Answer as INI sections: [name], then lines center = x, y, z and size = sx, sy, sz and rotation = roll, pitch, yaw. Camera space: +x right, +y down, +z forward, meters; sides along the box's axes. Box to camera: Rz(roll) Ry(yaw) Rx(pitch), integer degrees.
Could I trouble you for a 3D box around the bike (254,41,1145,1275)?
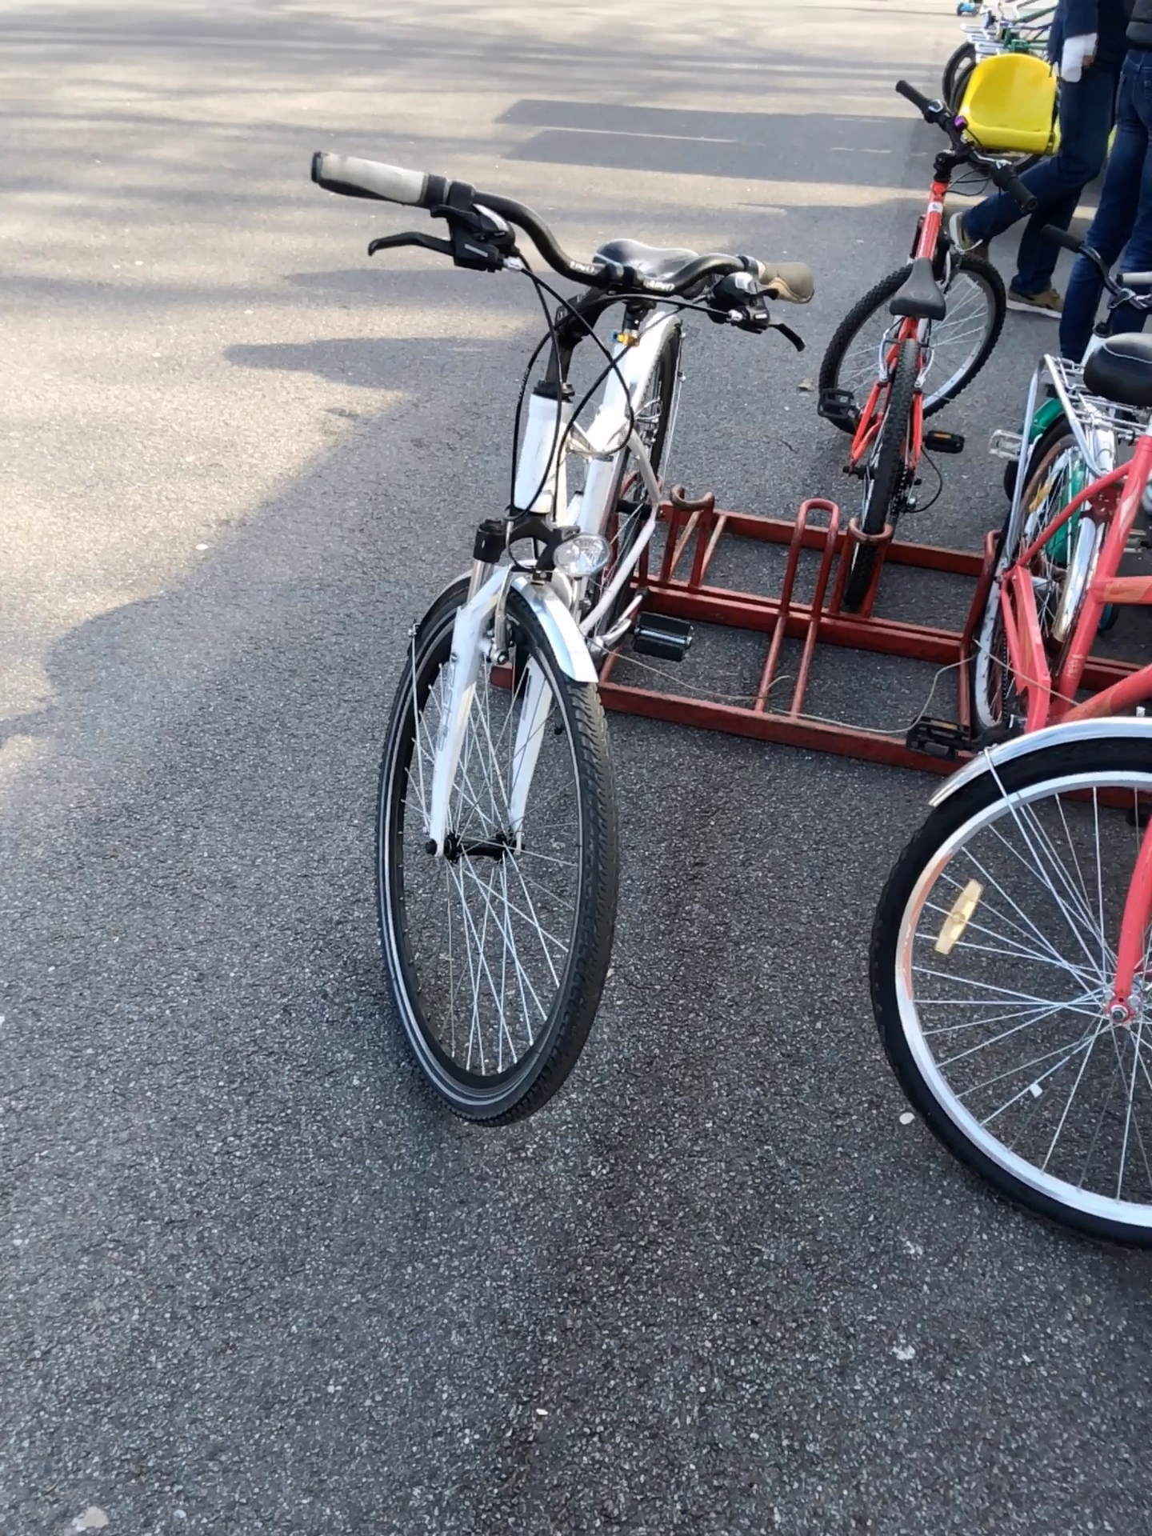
[bike]
center = 0.137, -0.379, 1.921
size = 0.644, 1.112, 1.707
rotation = 5, 35, 4
